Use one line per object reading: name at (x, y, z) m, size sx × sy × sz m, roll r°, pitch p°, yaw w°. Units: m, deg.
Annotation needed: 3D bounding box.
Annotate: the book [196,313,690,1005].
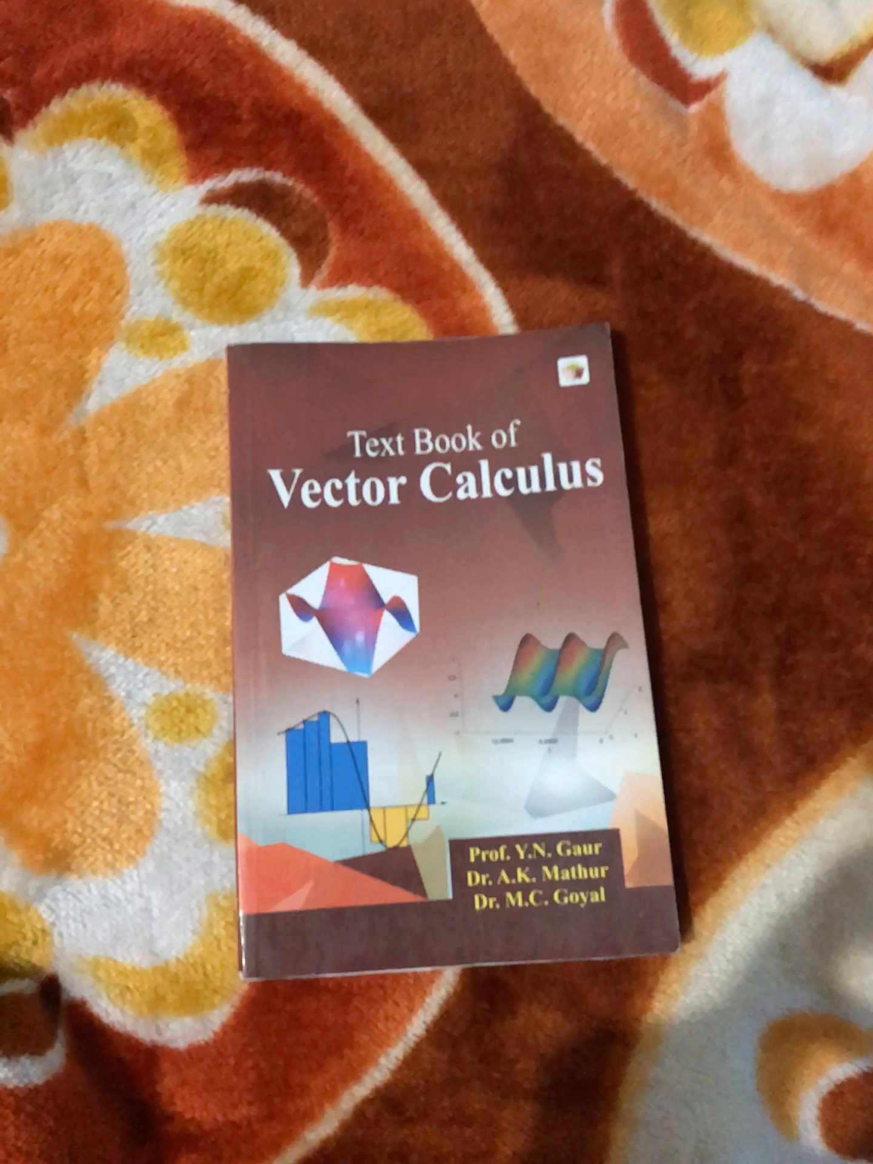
book at (-0.003, 0.018, 0.319) m, size 0.140 × 0.020 × 0.210 m, roll -4°, pitch 77°, yaw -2°
